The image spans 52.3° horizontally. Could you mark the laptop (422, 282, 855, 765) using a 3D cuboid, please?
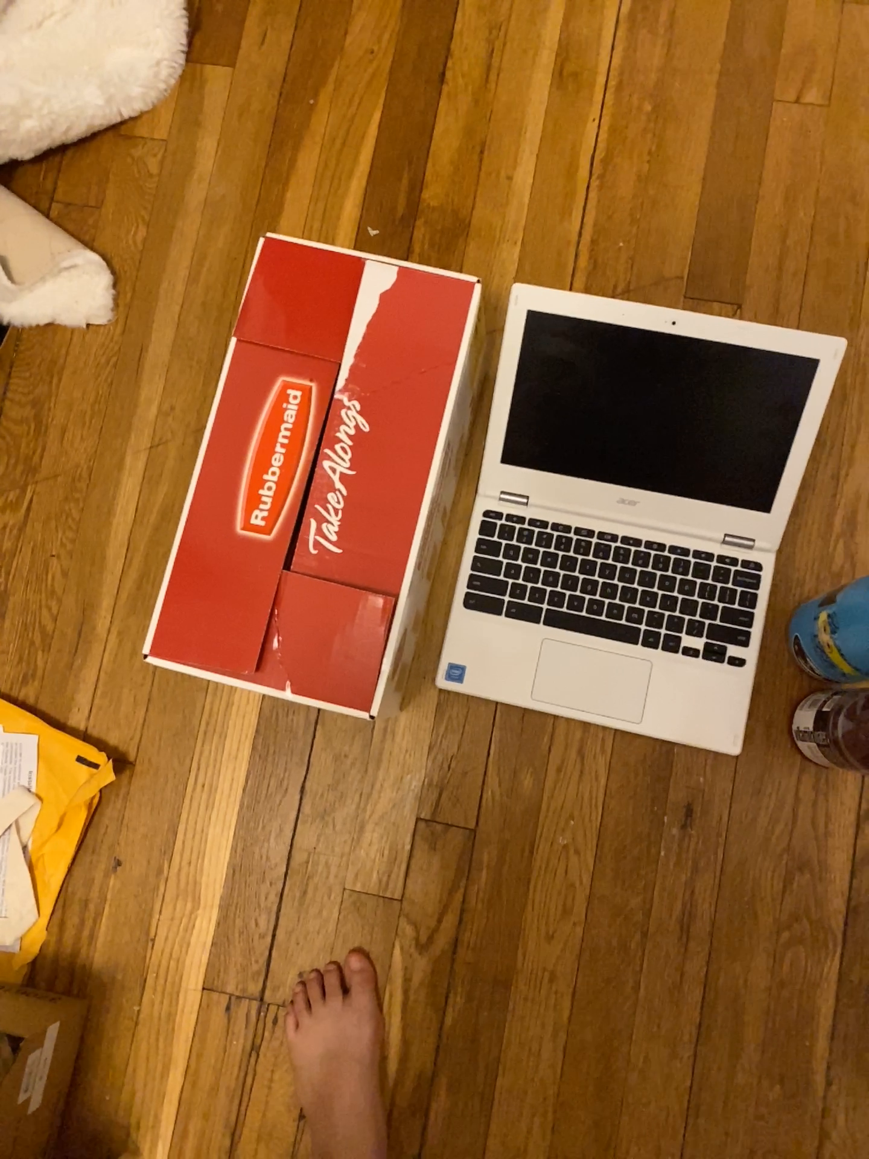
[{"bbox_3d":[0.176,-0.050,0.796,0.289,0.110,0.364,12,84,8],"label":"laptop"}]
